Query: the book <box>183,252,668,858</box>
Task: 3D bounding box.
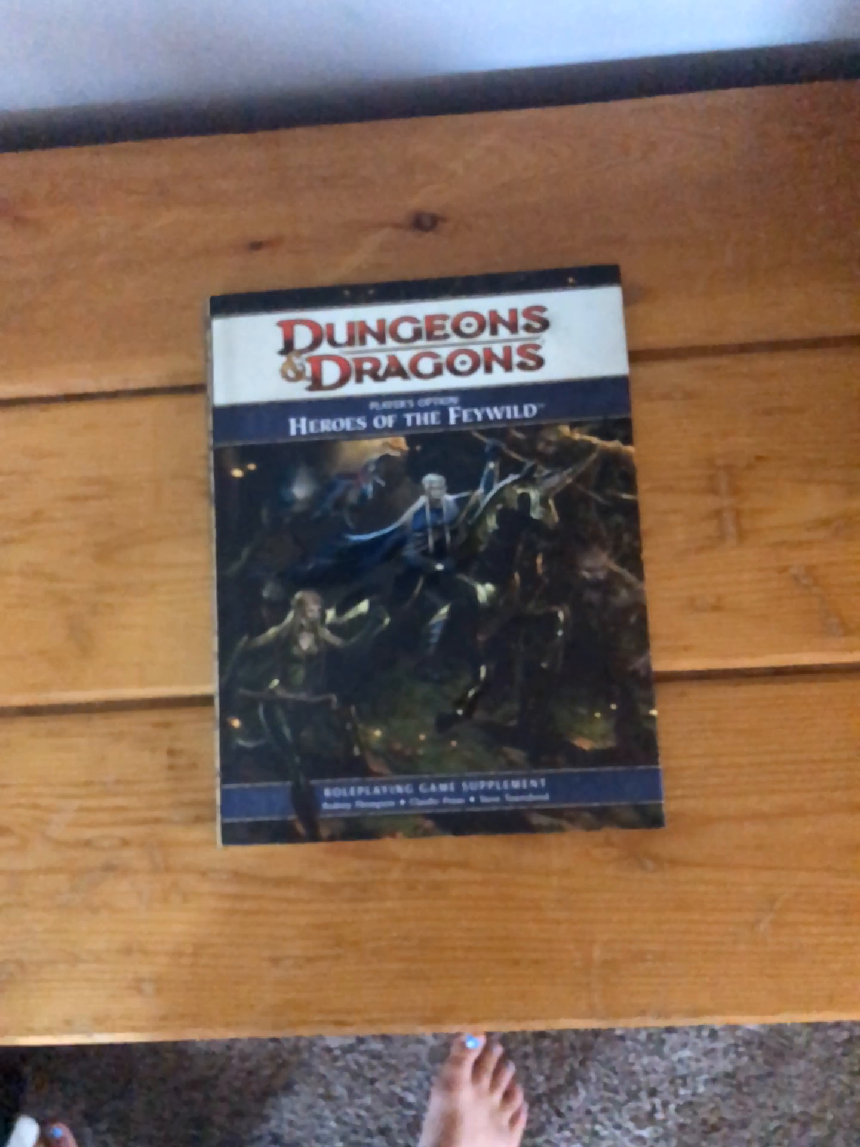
[{"bbox_3d":[-0.008,-0.010,0.470,0.220,0.020,0.280,-3,84,4],"label":"book"}]
